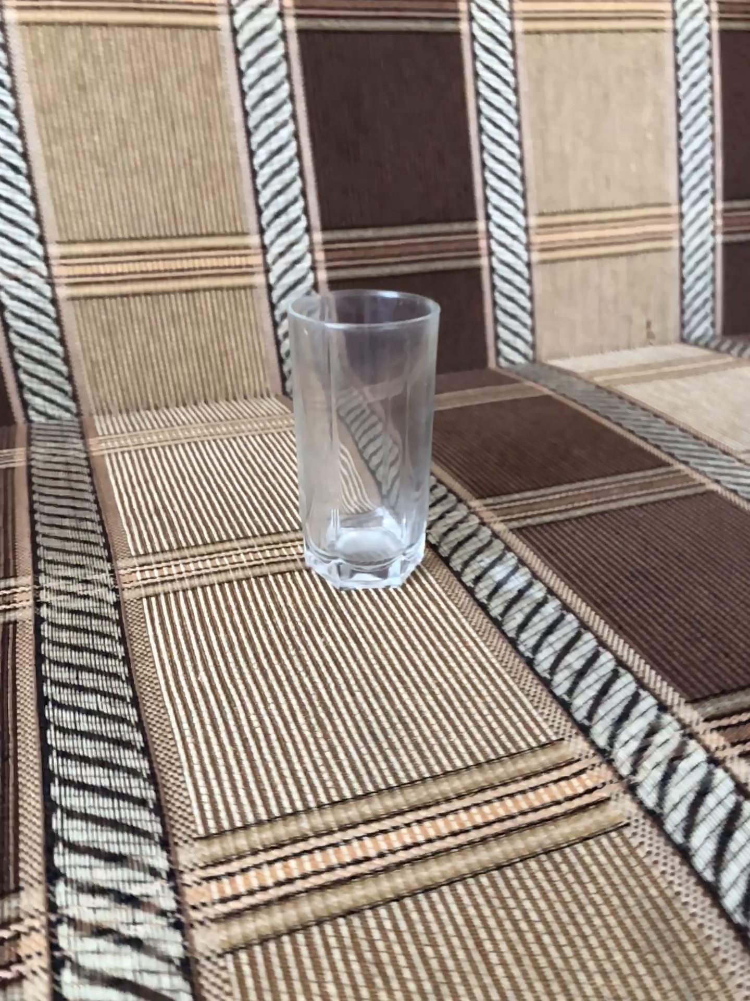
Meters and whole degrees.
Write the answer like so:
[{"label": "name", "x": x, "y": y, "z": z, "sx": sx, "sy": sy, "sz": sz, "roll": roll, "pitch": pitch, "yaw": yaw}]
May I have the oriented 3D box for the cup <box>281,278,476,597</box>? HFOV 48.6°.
[{"label": "cup", "x": -0.002, "y": -0.032, "z": 0.398, "sx": 0.076, "sy": 0.130, "sz": 0.076, "roll": 1, "pitch": 25, "yaw": 0}]
